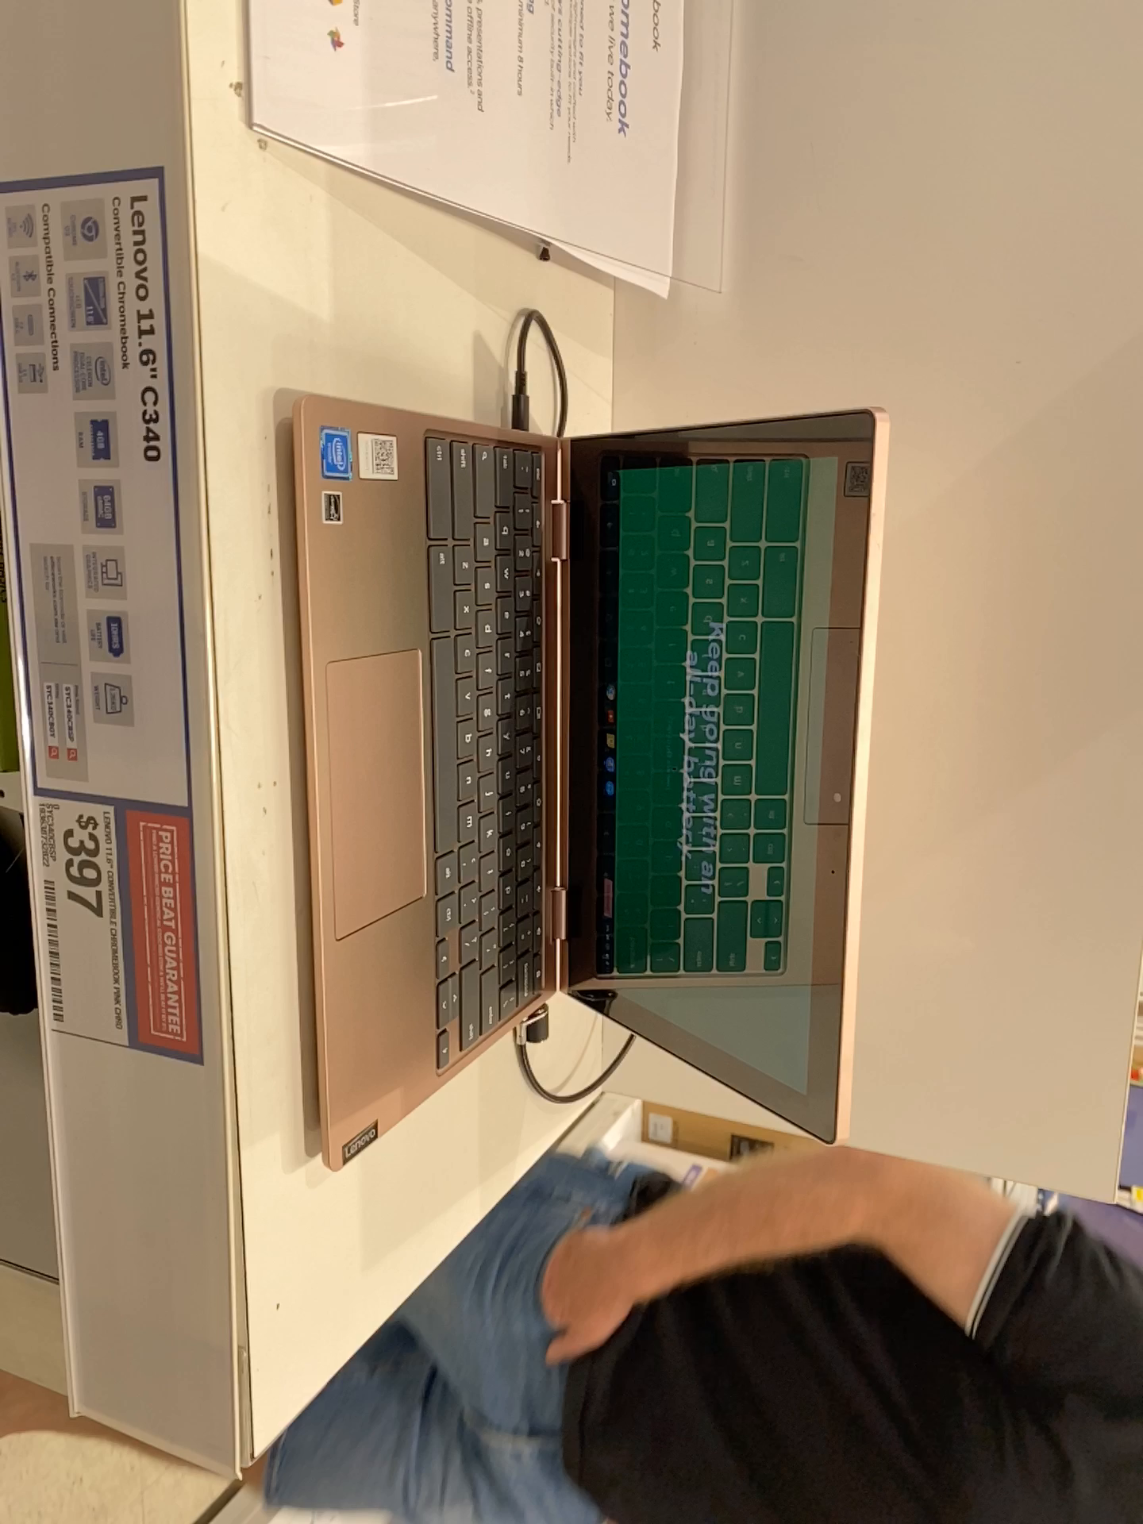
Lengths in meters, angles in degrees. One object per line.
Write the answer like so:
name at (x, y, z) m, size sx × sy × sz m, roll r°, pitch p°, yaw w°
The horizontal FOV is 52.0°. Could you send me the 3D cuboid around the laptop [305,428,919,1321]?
laptop at (0.029, 0.022, 0.473) m, size 0.197 × 0.168 × 0.280 m, roll -23°, pitch 116°, yaw -63°
